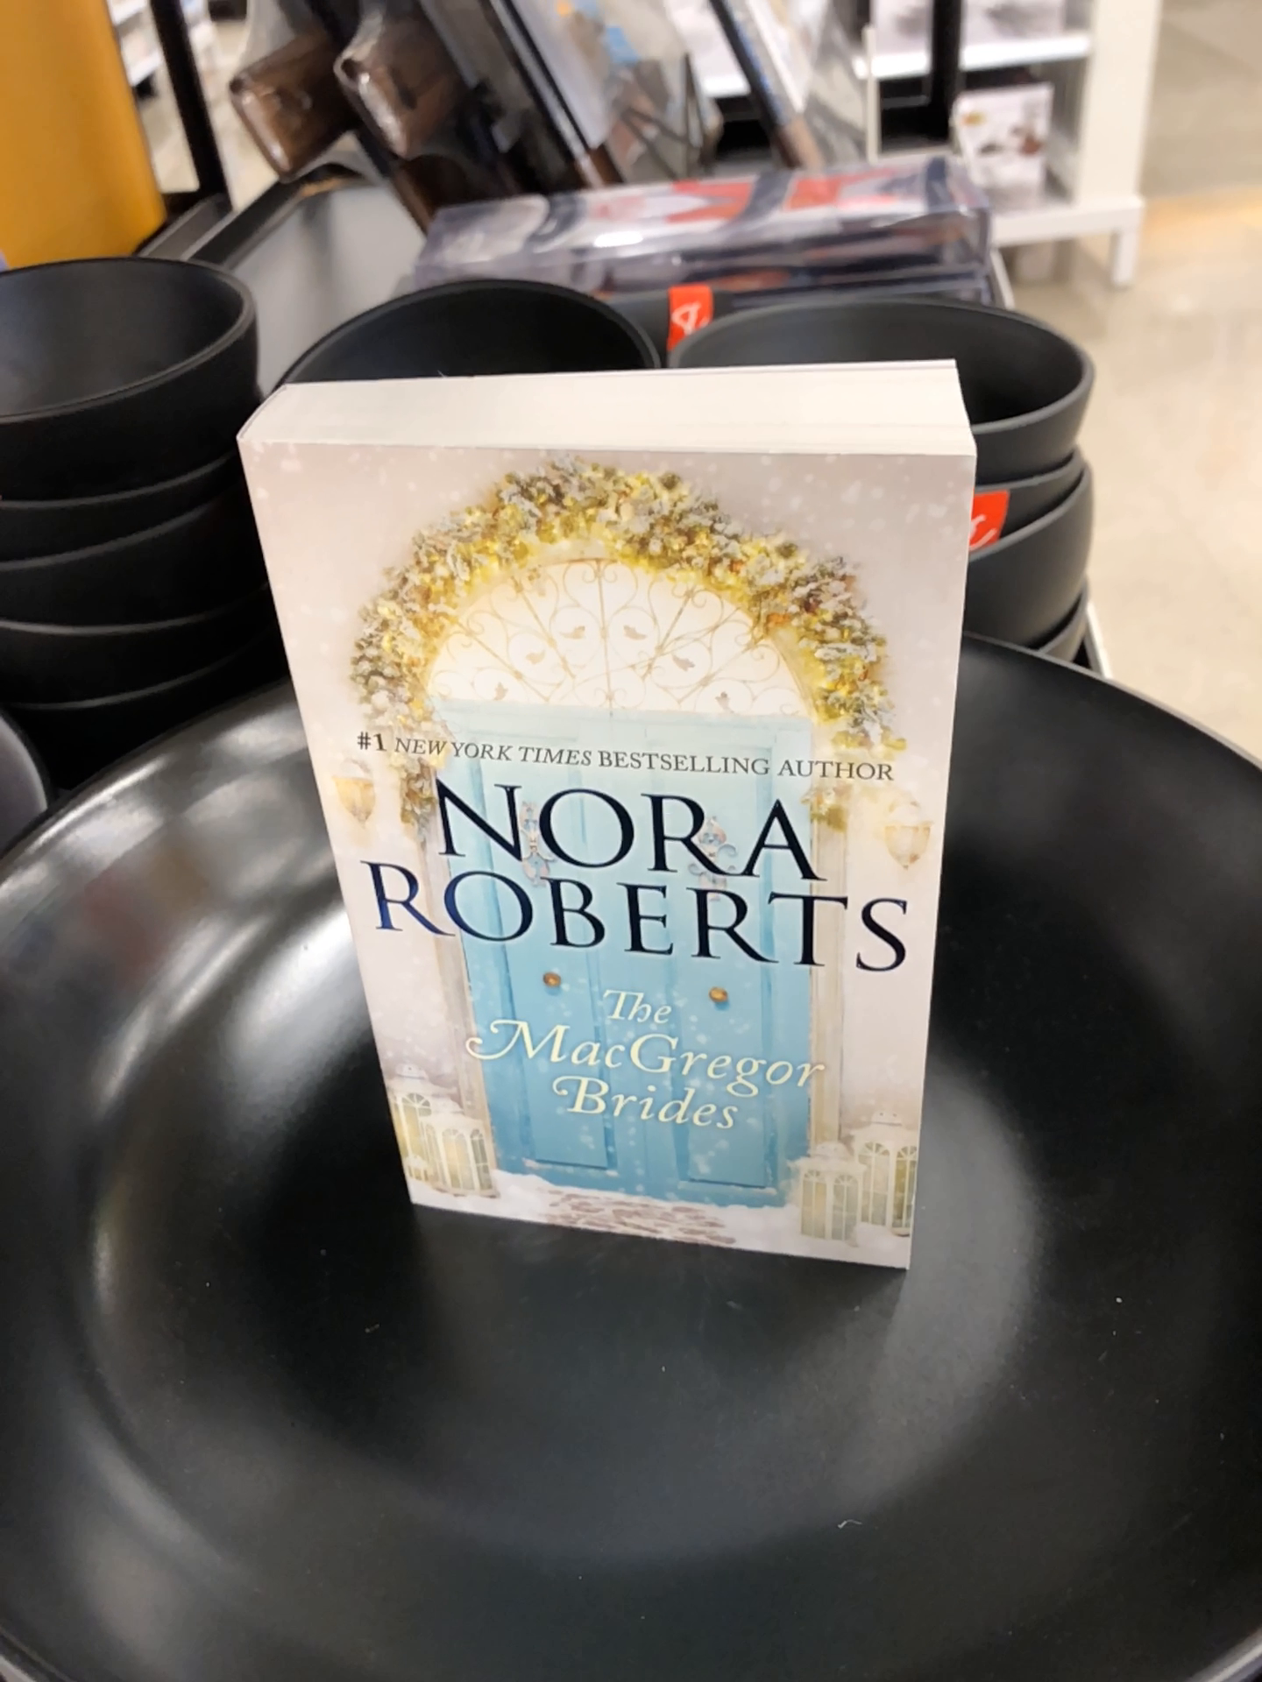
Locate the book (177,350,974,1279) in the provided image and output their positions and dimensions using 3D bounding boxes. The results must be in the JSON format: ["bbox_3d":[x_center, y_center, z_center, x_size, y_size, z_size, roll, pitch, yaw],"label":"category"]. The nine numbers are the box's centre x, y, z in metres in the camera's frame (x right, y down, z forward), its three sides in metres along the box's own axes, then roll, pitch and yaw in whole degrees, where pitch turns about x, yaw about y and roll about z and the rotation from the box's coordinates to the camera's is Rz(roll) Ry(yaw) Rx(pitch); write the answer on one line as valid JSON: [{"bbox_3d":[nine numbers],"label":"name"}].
[{"bbox_3d":[0.000,0.003,0.256,0.111,0.168,0.040,4,37,13],"label":"book"}]
